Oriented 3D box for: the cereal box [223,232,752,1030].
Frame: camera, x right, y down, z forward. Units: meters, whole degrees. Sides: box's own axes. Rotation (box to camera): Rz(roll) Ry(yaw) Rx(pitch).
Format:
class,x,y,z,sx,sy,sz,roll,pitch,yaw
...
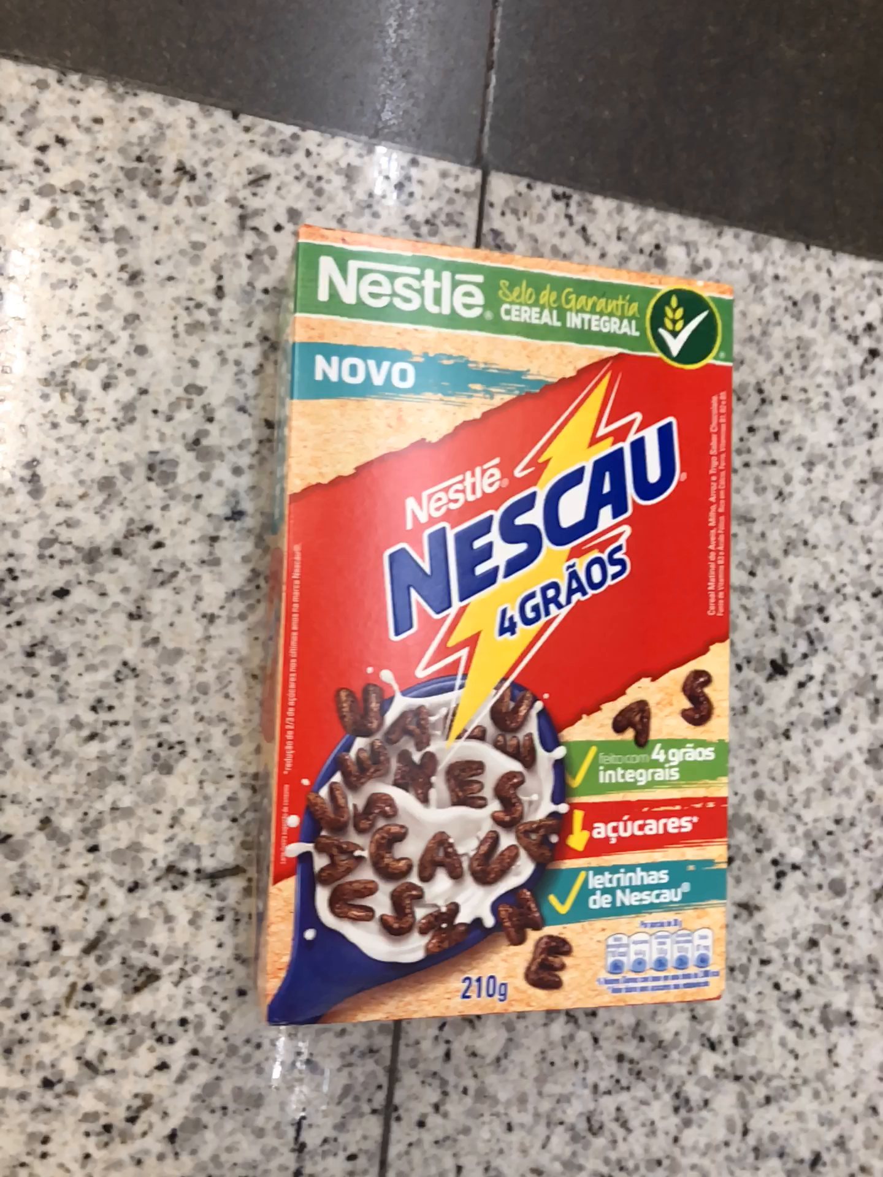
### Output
class,x,y,z,sx,sy,sz,roll,pitch,yaw
cereal box,0.017,0.015,0.340,0.170,0.050,0.240,2,87,-14
